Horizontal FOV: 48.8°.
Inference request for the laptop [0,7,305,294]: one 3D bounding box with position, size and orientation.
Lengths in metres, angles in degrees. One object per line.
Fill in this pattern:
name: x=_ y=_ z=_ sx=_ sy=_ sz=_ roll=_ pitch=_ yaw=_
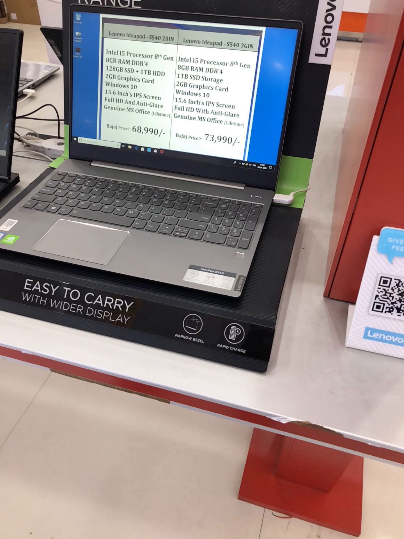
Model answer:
laptop: x=-0.074 y=-0.180 z=0.576 sx=0.335 sy=0.194 sz=0.326 roll=11 pitch=44 yaw=12
